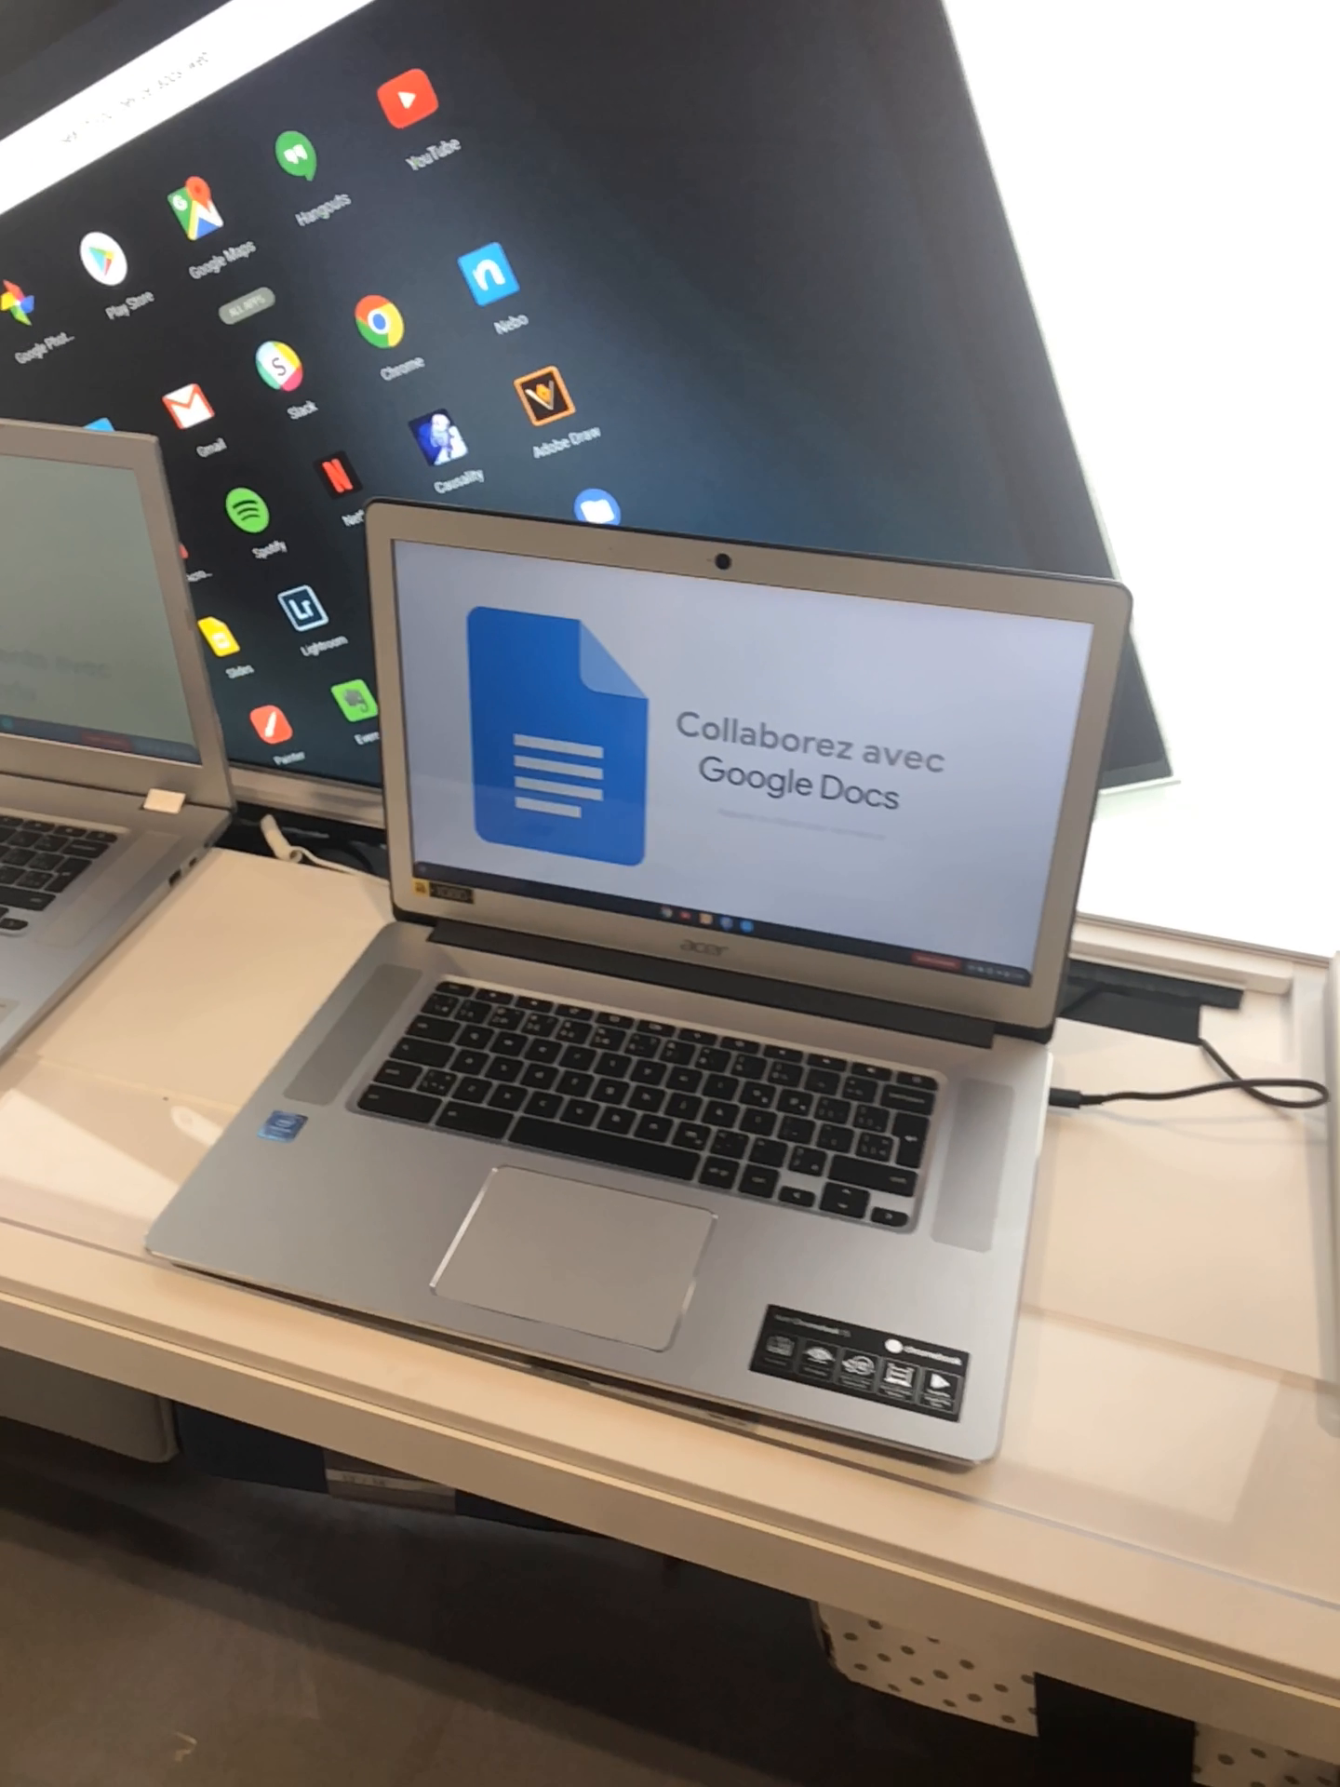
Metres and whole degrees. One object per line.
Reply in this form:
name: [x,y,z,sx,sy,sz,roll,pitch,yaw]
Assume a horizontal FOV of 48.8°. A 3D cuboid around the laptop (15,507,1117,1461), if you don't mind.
laptop: [-0.015,0.015,0.665,0.371,0.242,0.283,10,37,13]
